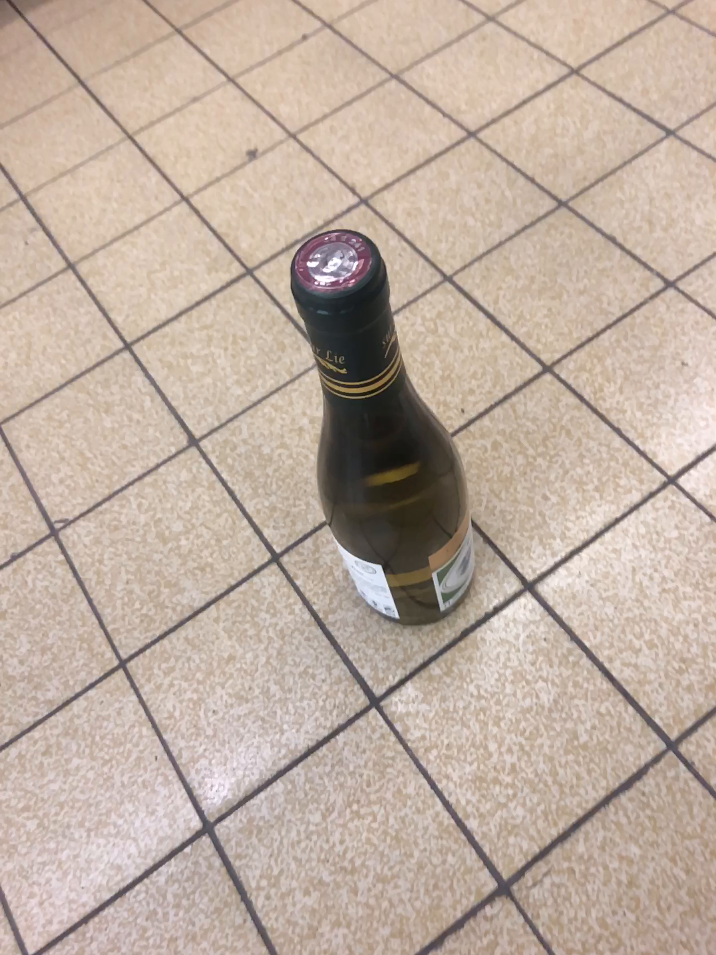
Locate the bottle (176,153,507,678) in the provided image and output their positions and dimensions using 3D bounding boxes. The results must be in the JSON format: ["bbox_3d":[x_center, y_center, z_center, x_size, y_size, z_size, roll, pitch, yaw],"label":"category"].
[{"bbox_3d":[0.010,0.001,0.329,0.080,0.239,0.080,-5,60,8],"label":"bottle"}]
